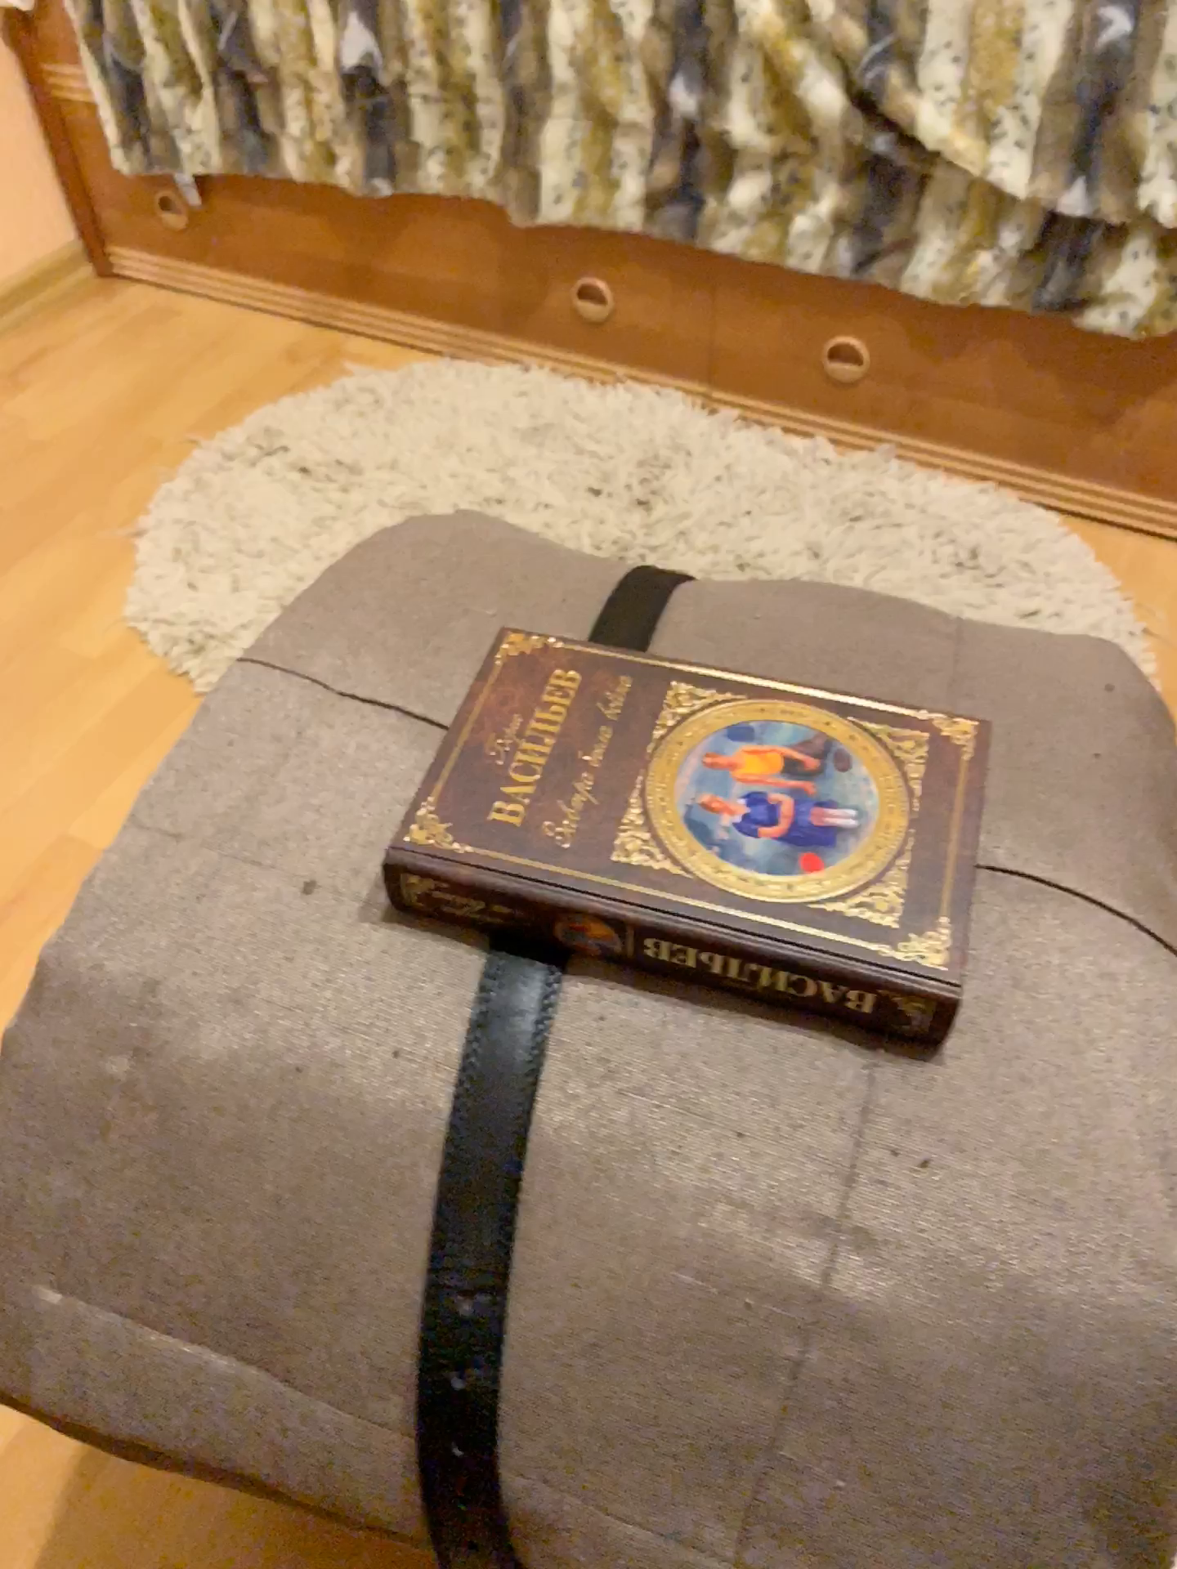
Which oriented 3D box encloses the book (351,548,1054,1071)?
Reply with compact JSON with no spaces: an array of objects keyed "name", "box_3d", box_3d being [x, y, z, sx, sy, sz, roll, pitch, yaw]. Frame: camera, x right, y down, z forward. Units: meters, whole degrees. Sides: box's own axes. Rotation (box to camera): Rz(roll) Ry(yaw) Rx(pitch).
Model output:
[{"name":"book","box_3d":[0.047,0.000,0.440,0.220,0.050,0.141,14,50,8]}]
